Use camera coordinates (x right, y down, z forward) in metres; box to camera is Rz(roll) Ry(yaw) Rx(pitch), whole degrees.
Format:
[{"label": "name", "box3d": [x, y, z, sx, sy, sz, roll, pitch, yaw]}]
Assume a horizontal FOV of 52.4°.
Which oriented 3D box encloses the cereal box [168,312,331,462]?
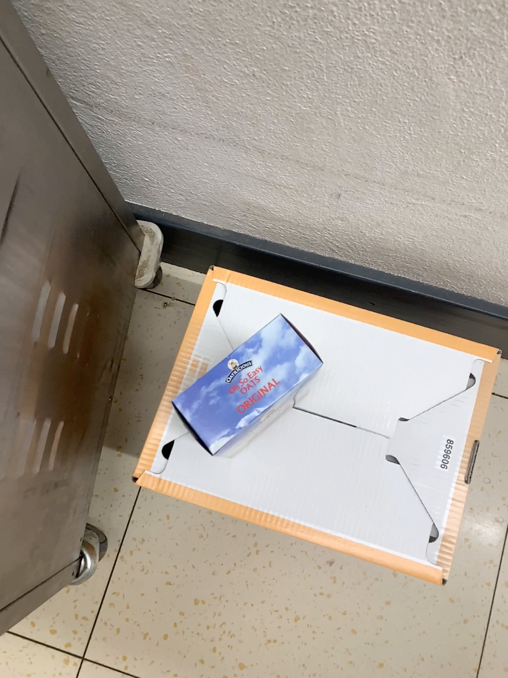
[{"label": "cereal box", "box3d": [0.000, 0.063, 0.547, 0.130, 0.220, 0.060, -38, 79, -6]}]
